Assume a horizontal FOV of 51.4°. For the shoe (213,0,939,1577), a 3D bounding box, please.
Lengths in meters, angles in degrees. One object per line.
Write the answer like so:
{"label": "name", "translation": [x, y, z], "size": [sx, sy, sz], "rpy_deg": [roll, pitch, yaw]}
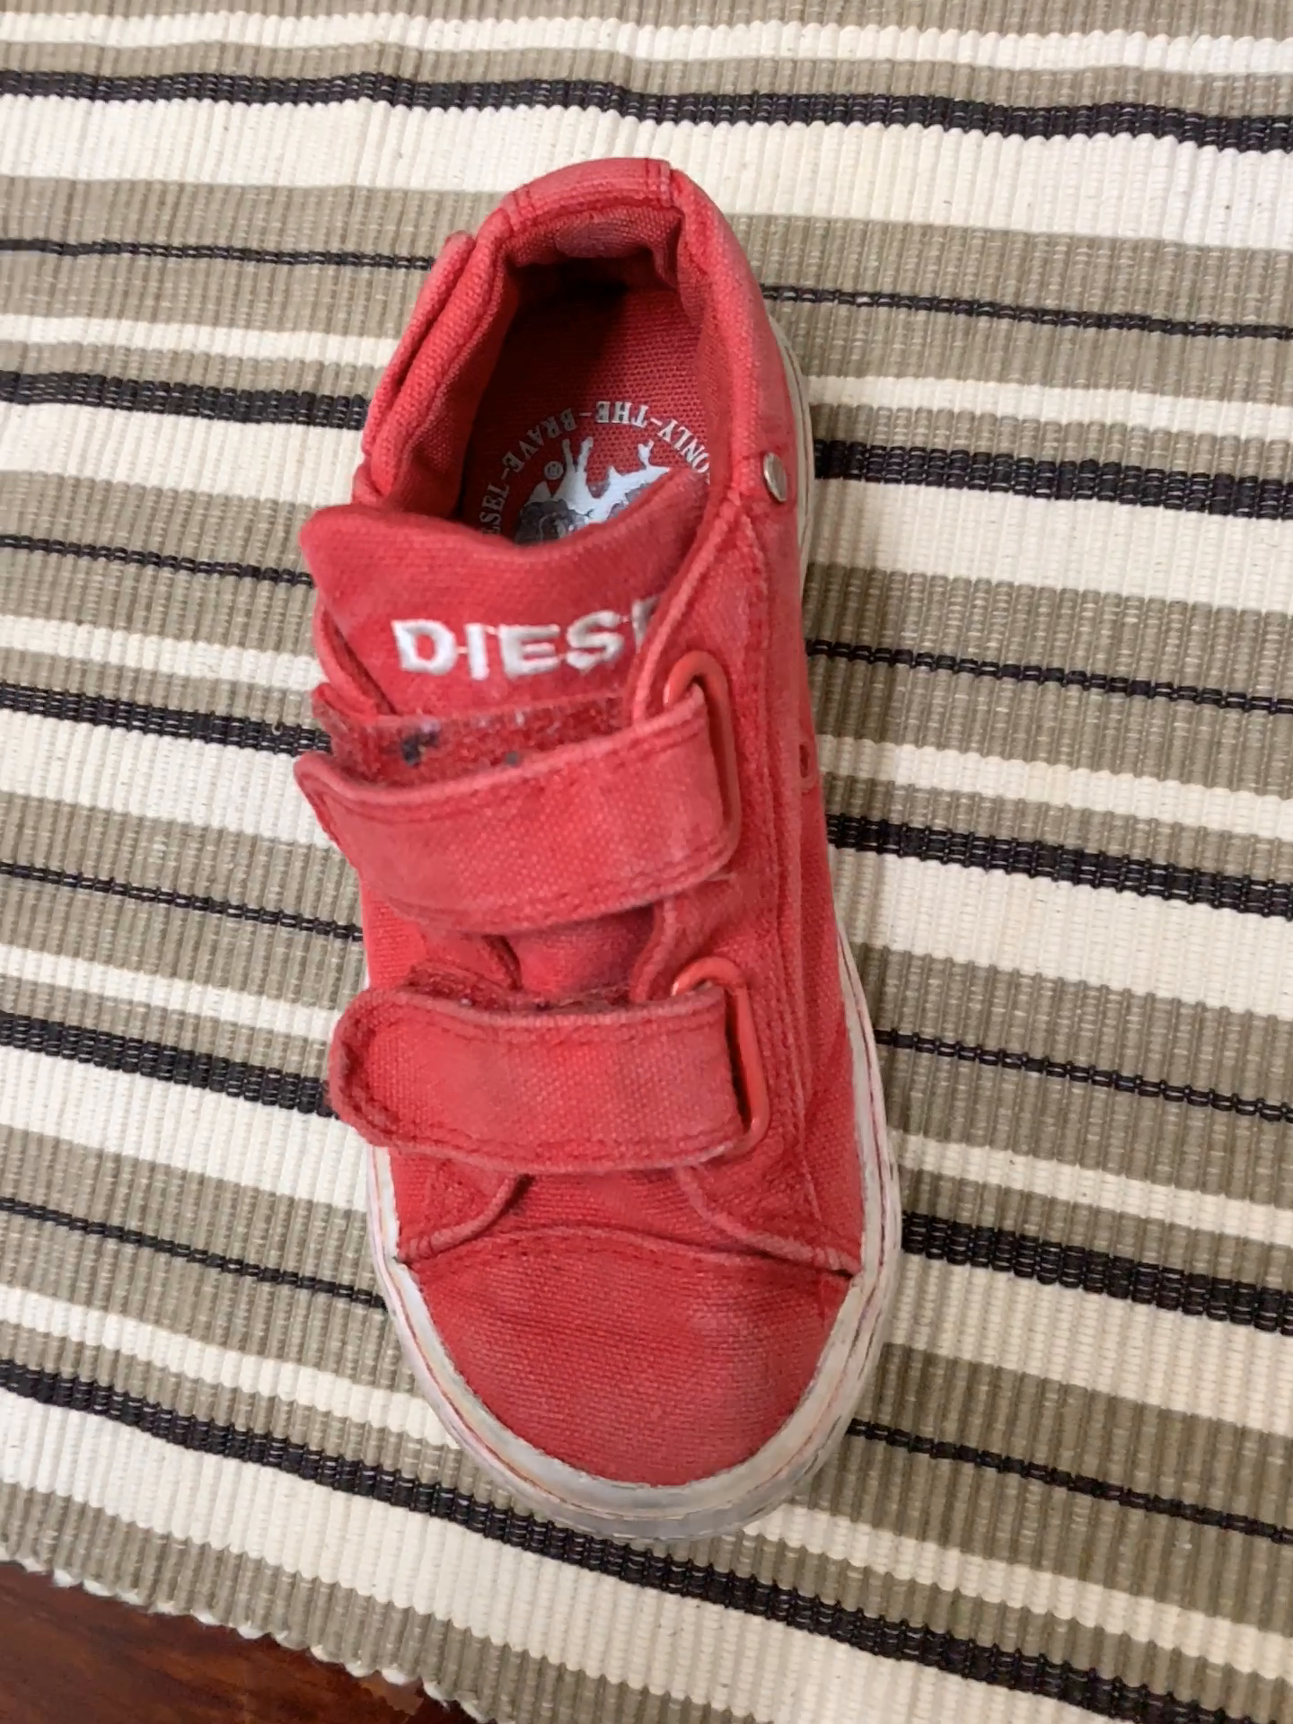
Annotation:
{"label": "shoe", "translation": [-0.003, -0.009, 0.186], "size": [0.080, 0.070, 0.170], "rpy_deg": [-2, 85, 13]}
